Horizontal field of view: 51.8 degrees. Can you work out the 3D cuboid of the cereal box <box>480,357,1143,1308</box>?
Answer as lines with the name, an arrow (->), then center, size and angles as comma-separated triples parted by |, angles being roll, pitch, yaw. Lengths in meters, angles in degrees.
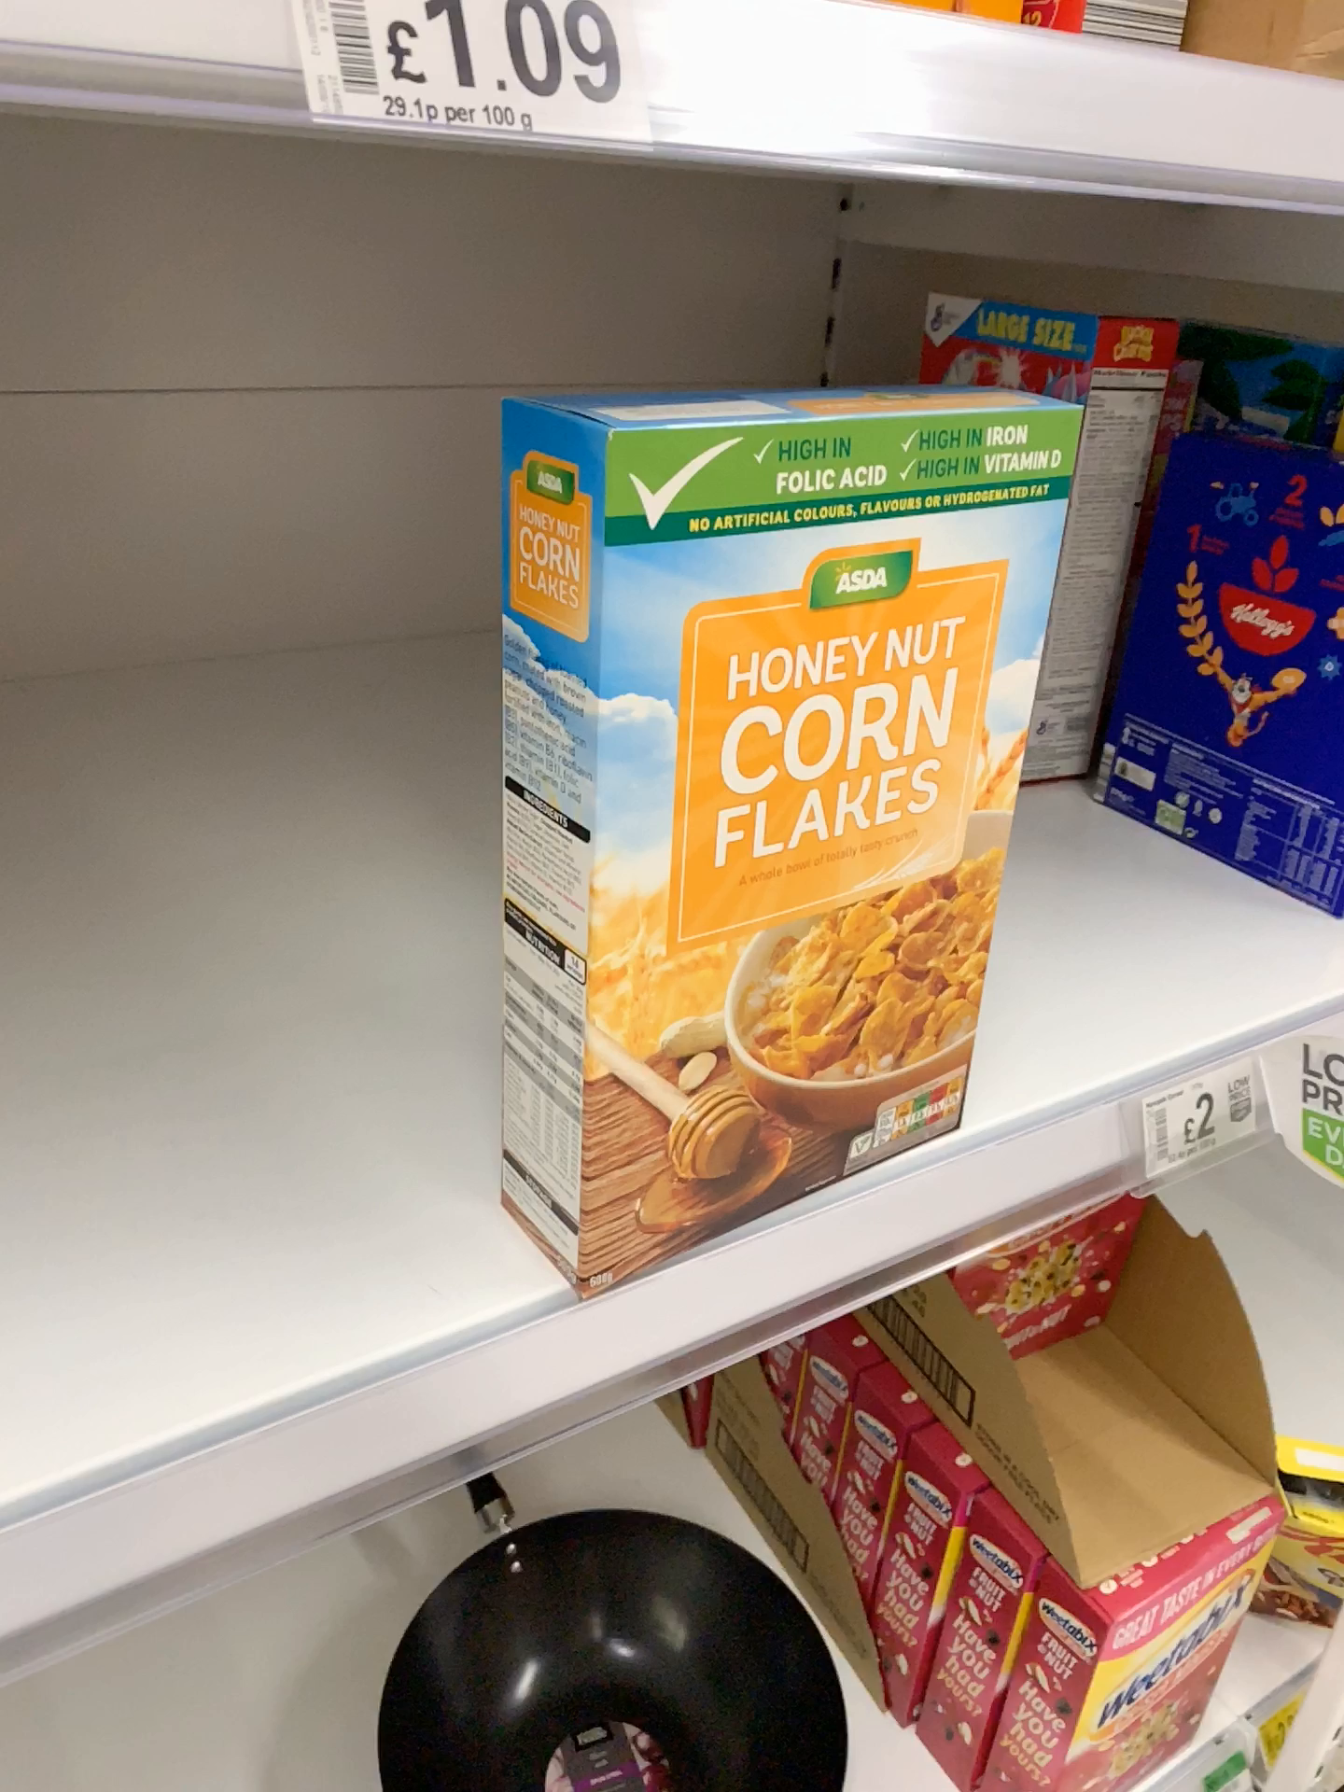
cereal box -> 0.040, -0.028, 0.478 | 0.201, 0.287, 0.070 | -15, 32, -34
